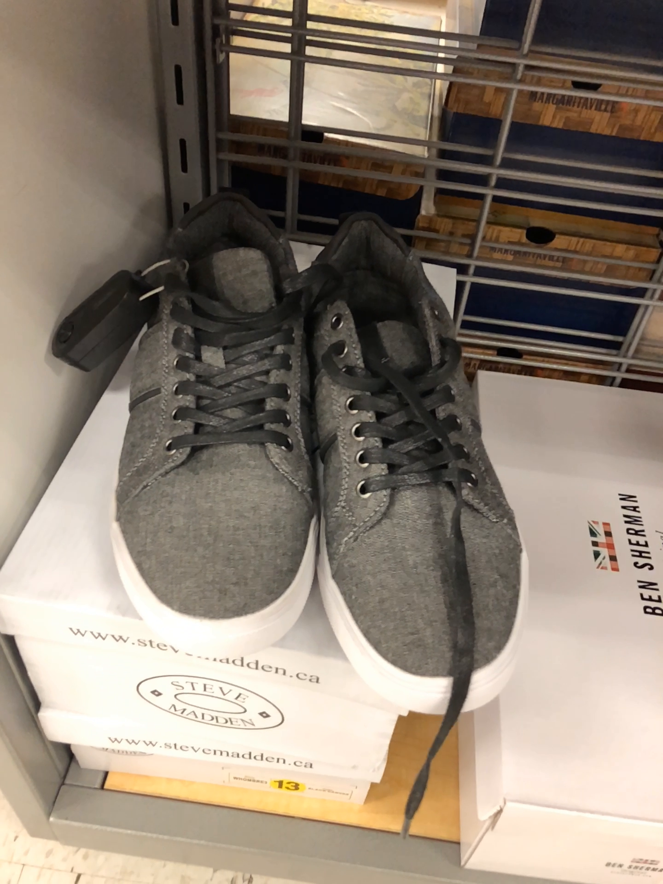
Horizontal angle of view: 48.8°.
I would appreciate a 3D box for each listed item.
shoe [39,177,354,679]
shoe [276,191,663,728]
[{"bbox_3d":[-0.062,-0.027,0.378,0.107,0.099,0.262,0,46,-7],"label":"shoe"},{"bbox_3d":[0.041,-0.015,0.371,0.107,0.099,0.272,-3,46,-10],"label":"shoe"}]
